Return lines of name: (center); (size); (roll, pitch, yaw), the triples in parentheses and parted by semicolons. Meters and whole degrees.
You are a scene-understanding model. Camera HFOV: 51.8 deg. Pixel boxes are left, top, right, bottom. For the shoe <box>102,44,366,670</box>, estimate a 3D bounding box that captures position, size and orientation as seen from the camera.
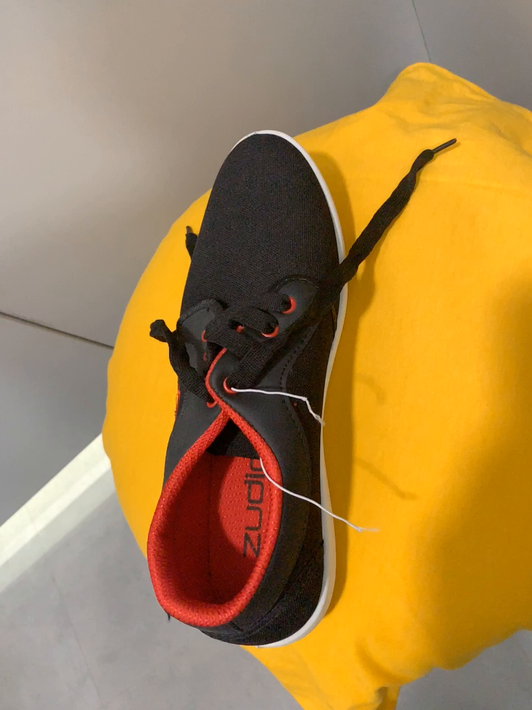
shoe: (-0.007, -0.002, 0.295); (0.090, 0.100, 0.270); (-5, 76, 27)
